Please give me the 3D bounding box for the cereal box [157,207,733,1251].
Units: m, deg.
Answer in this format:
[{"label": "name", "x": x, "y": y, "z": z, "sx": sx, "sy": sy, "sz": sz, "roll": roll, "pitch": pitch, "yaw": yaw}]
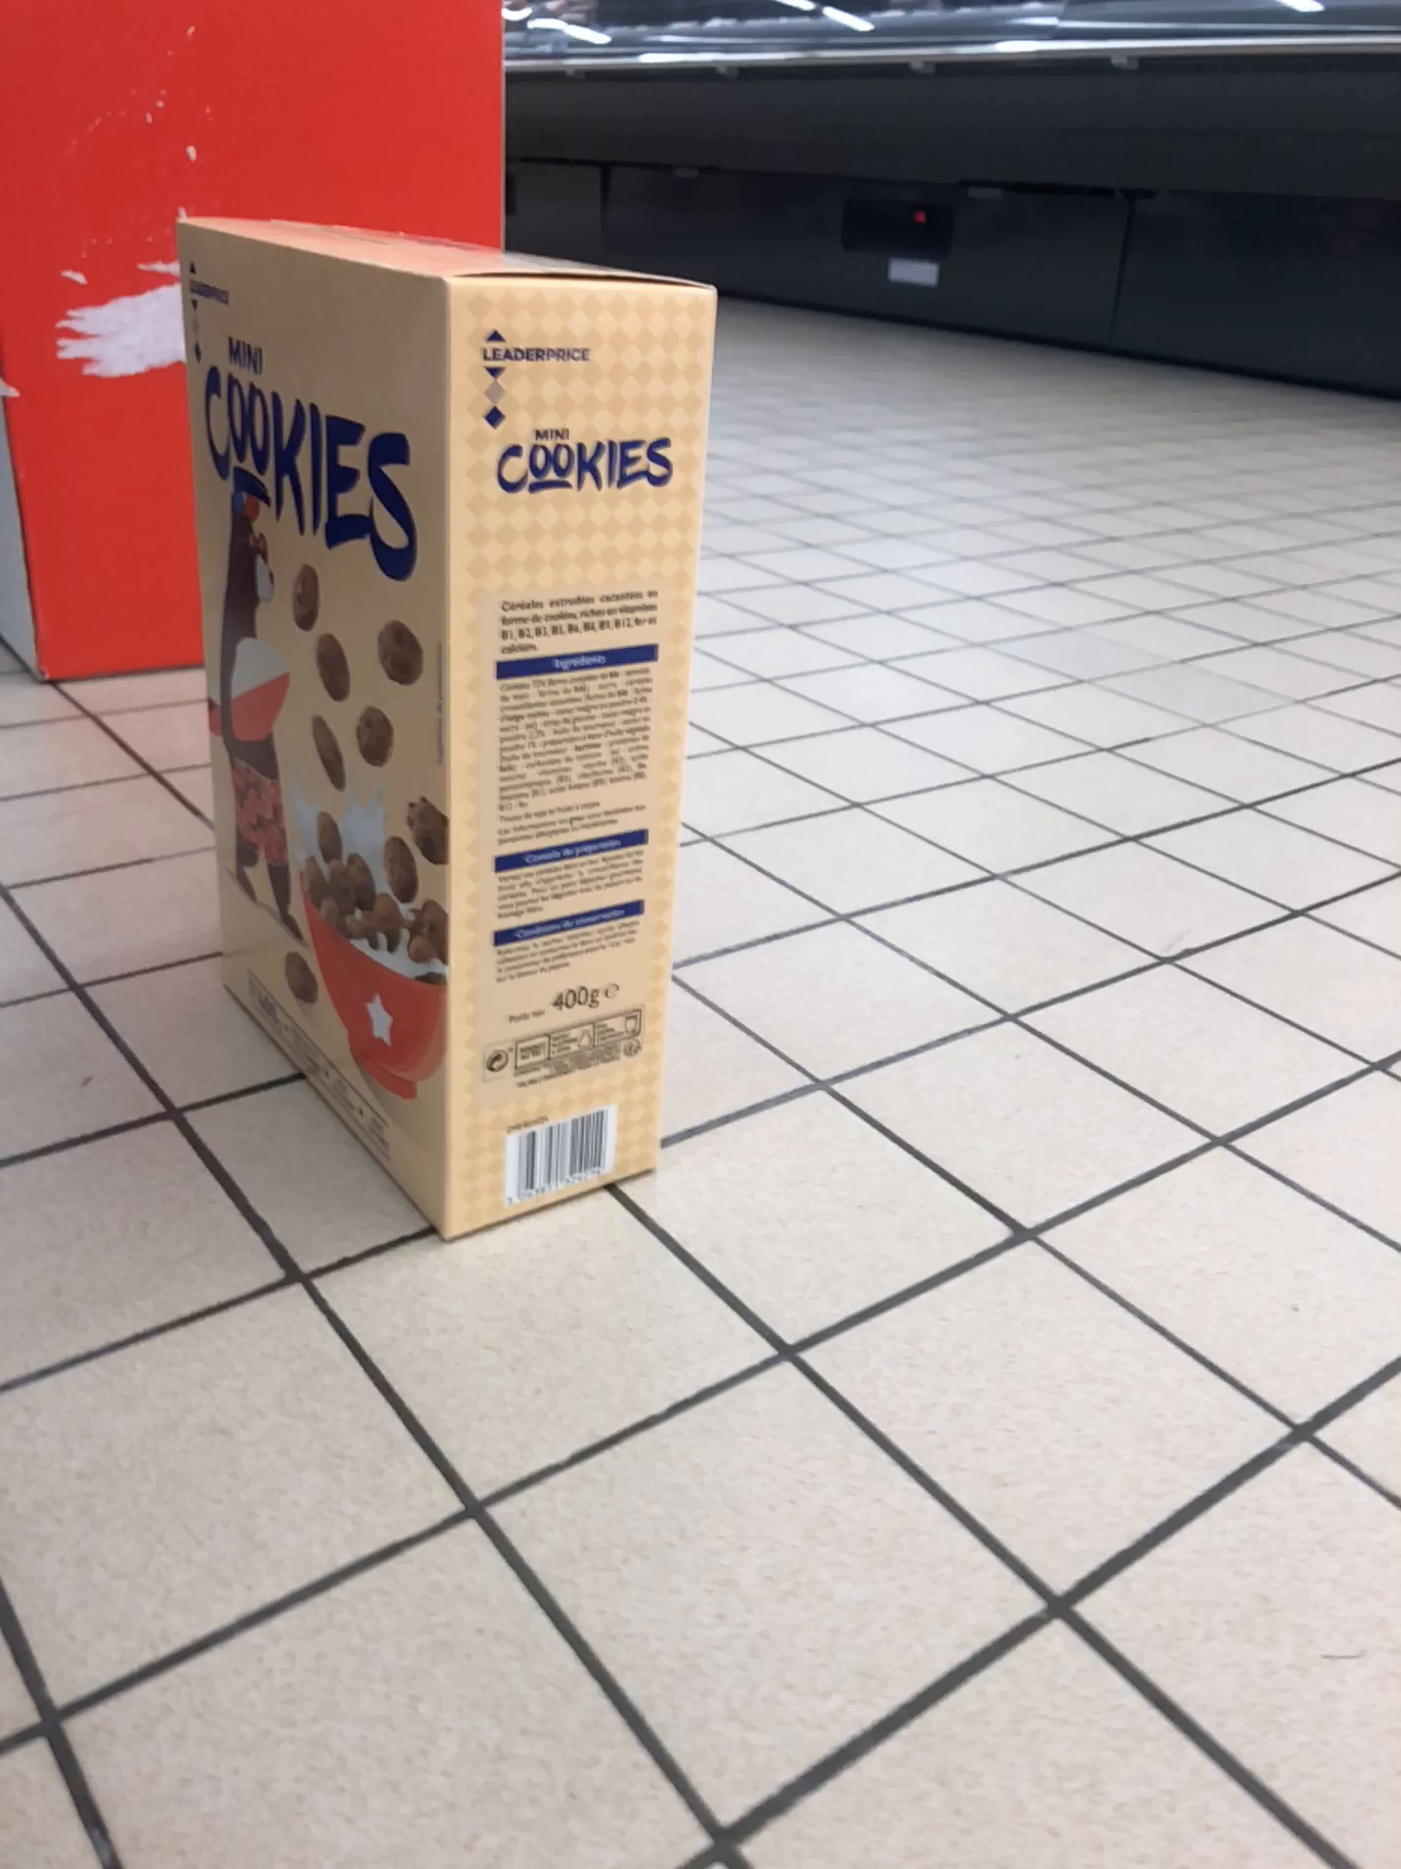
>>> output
[{"label": "cereal box", "x": -0.091, "y": -0.077, "z": 0.503, "sx": 0.080, "sy": 0.278, "sz": 0.200, "roll": -14, "pitch": 31, "yaw": -33}]
